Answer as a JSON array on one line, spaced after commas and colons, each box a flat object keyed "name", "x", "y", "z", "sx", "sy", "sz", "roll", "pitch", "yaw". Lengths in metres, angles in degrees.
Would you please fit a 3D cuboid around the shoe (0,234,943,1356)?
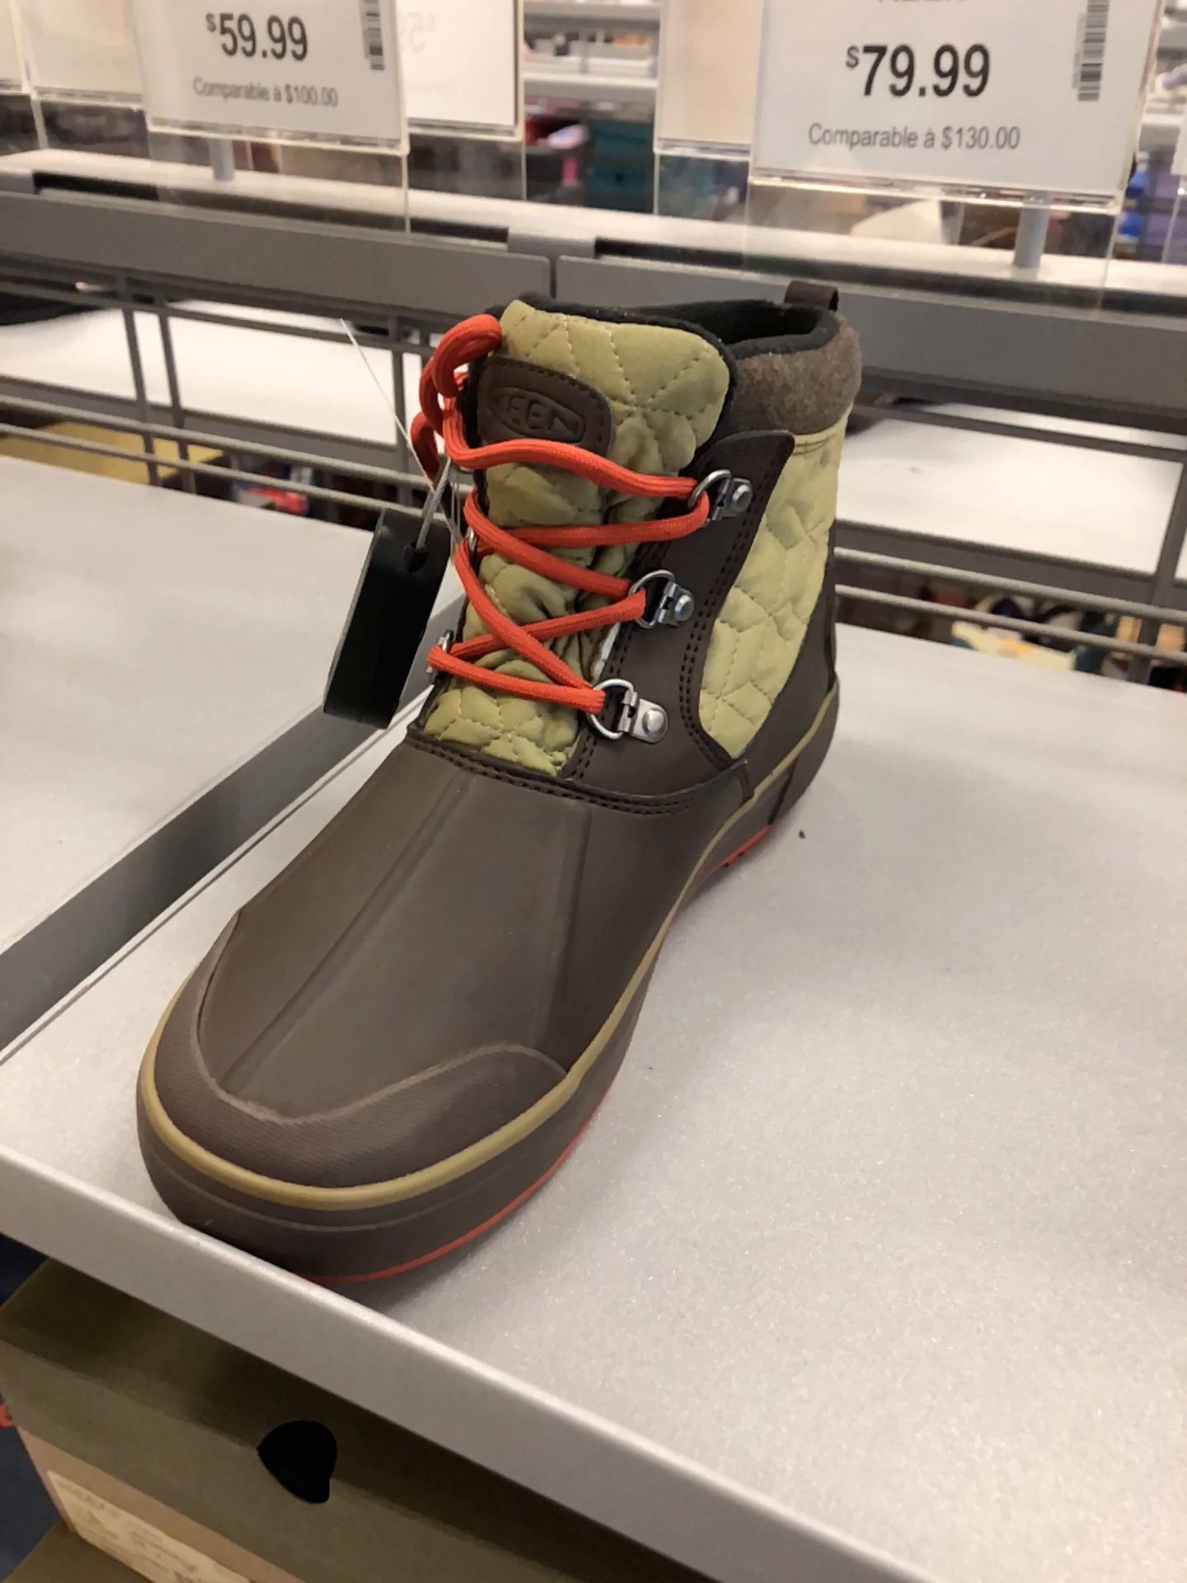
[{"name": "shoe", "x": -0.012, "y": -0.034, "z": 0.317, "sx": 0.107, "sy": 0.139, "sz": 0.262, "roll": 16, "pitch": 35, "yaw": 22}]
